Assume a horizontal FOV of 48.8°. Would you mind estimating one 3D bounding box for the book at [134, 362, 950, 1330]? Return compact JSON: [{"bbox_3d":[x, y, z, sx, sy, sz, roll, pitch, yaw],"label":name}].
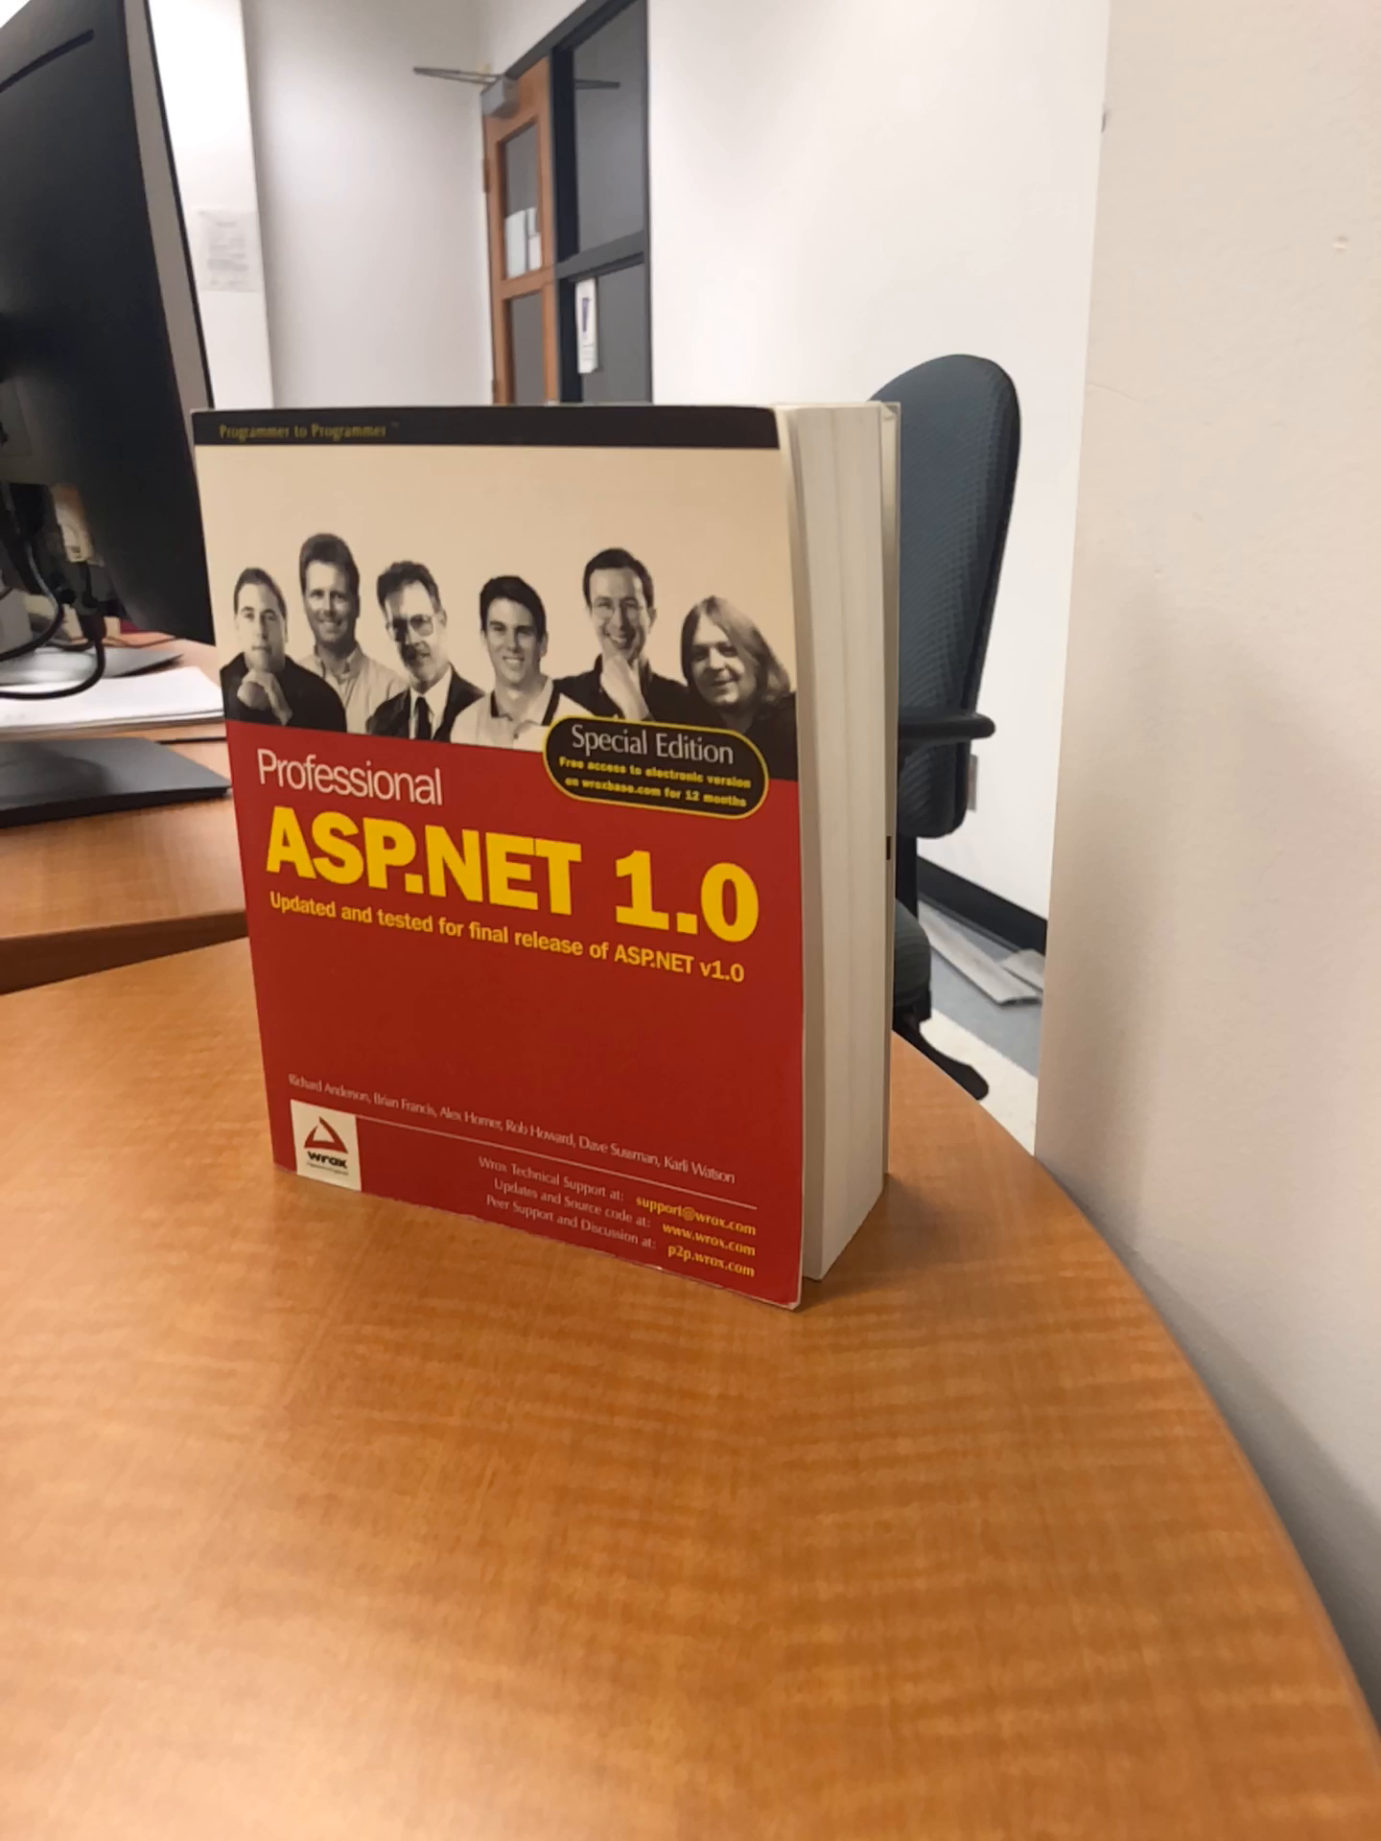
[{"bbox_3d":[-0.043,-0.028,0.416,0.210,0.229,0.050,9,20,26],"label":"book"}]
